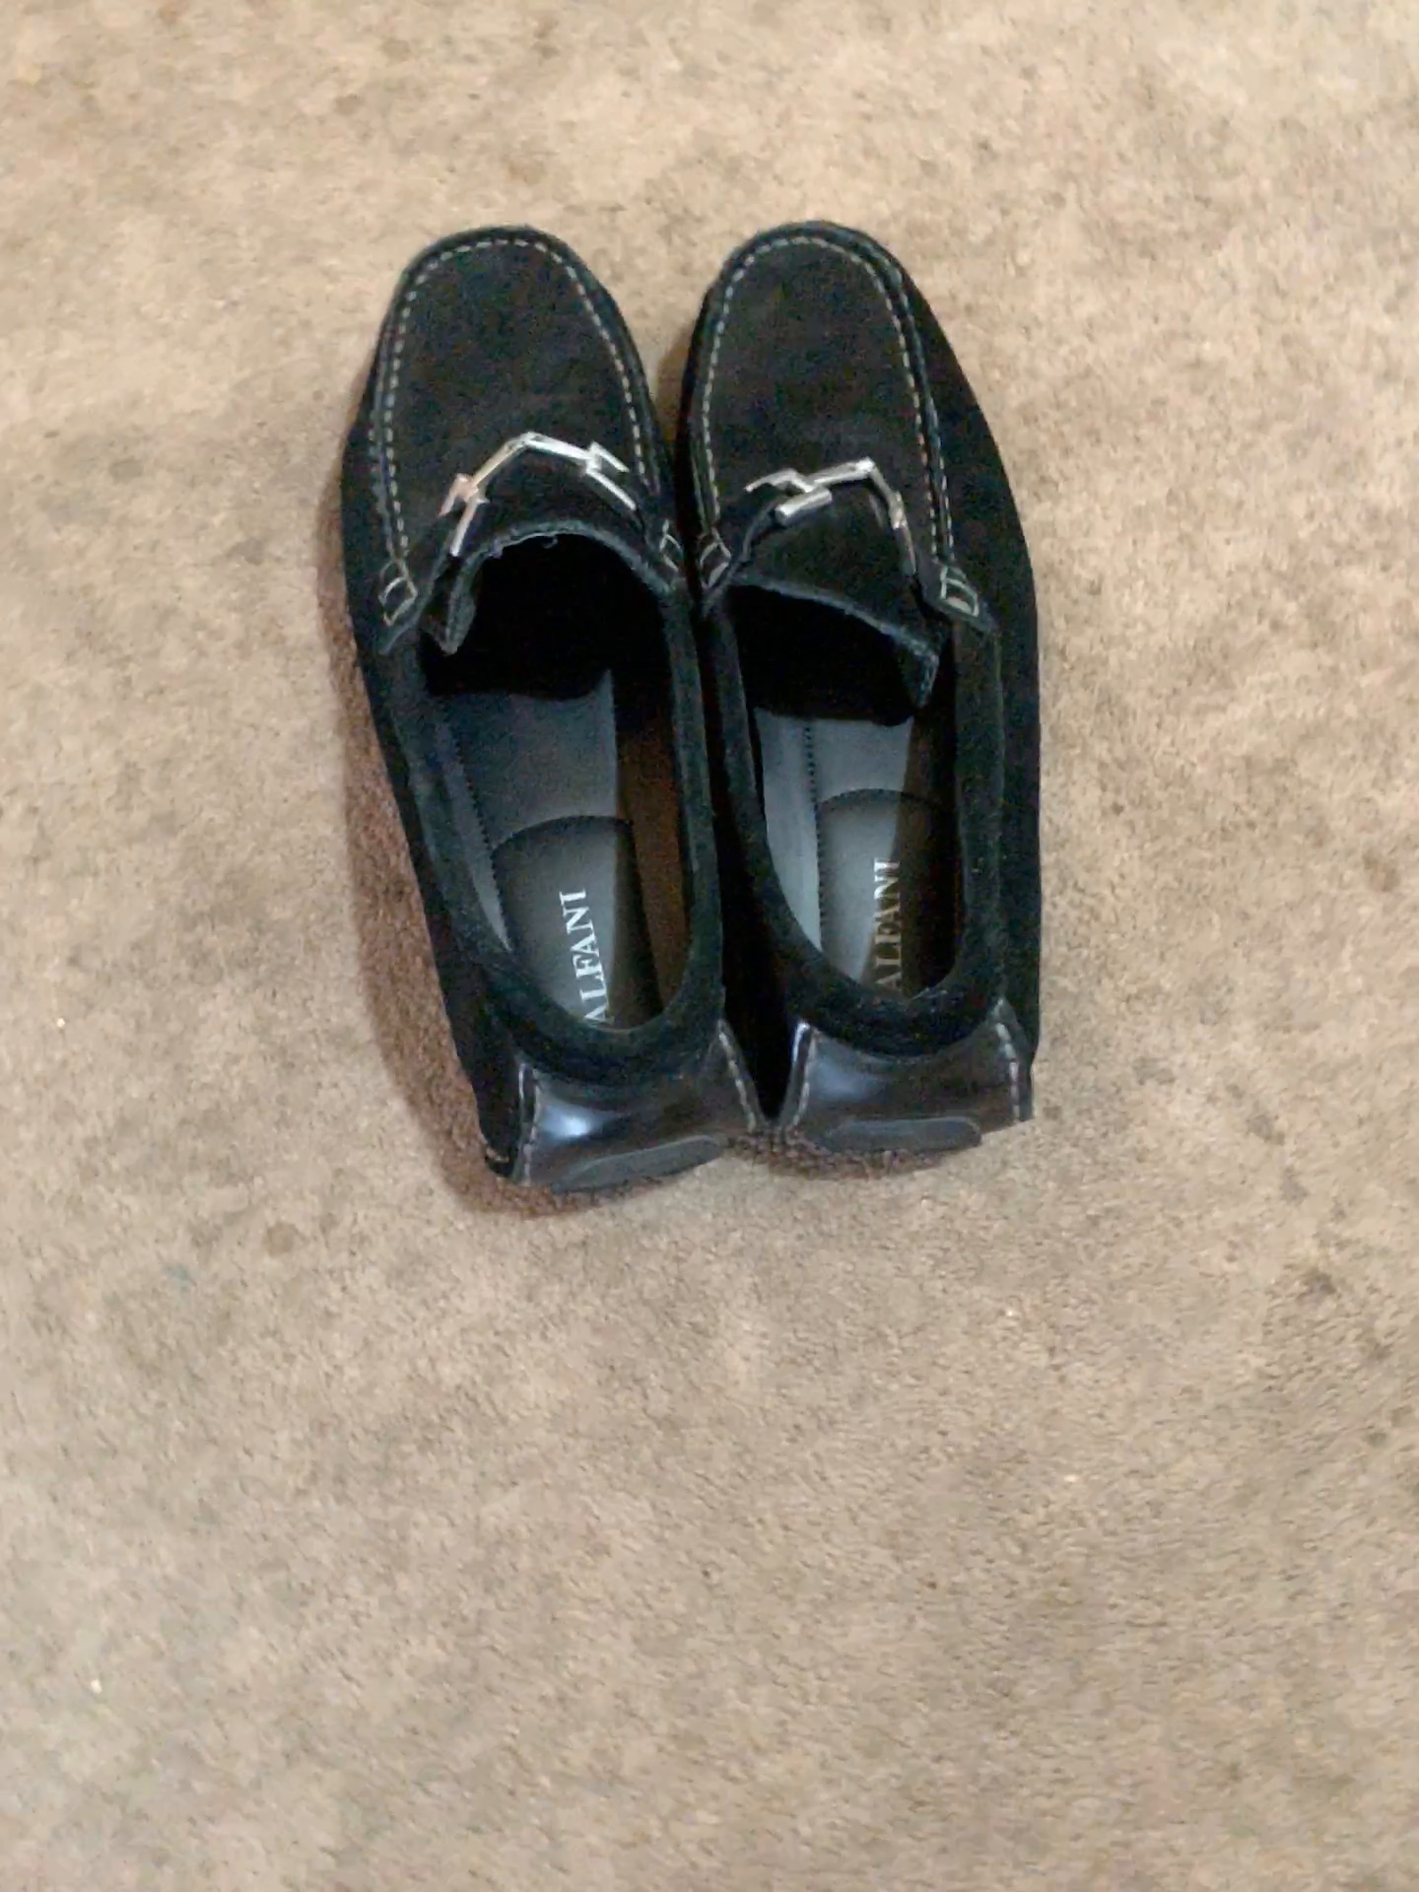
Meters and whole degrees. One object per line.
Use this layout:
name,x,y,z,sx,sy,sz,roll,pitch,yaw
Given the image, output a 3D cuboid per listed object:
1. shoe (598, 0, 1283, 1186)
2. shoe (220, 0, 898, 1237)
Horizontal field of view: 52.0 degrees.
shoe,0.040,-0.101,0.382,0.100,0.100,0.301,-7,71,-7
shoe,-0.048,-0.090,0.379,0.100,0.100,0.301,-10,72,-9
